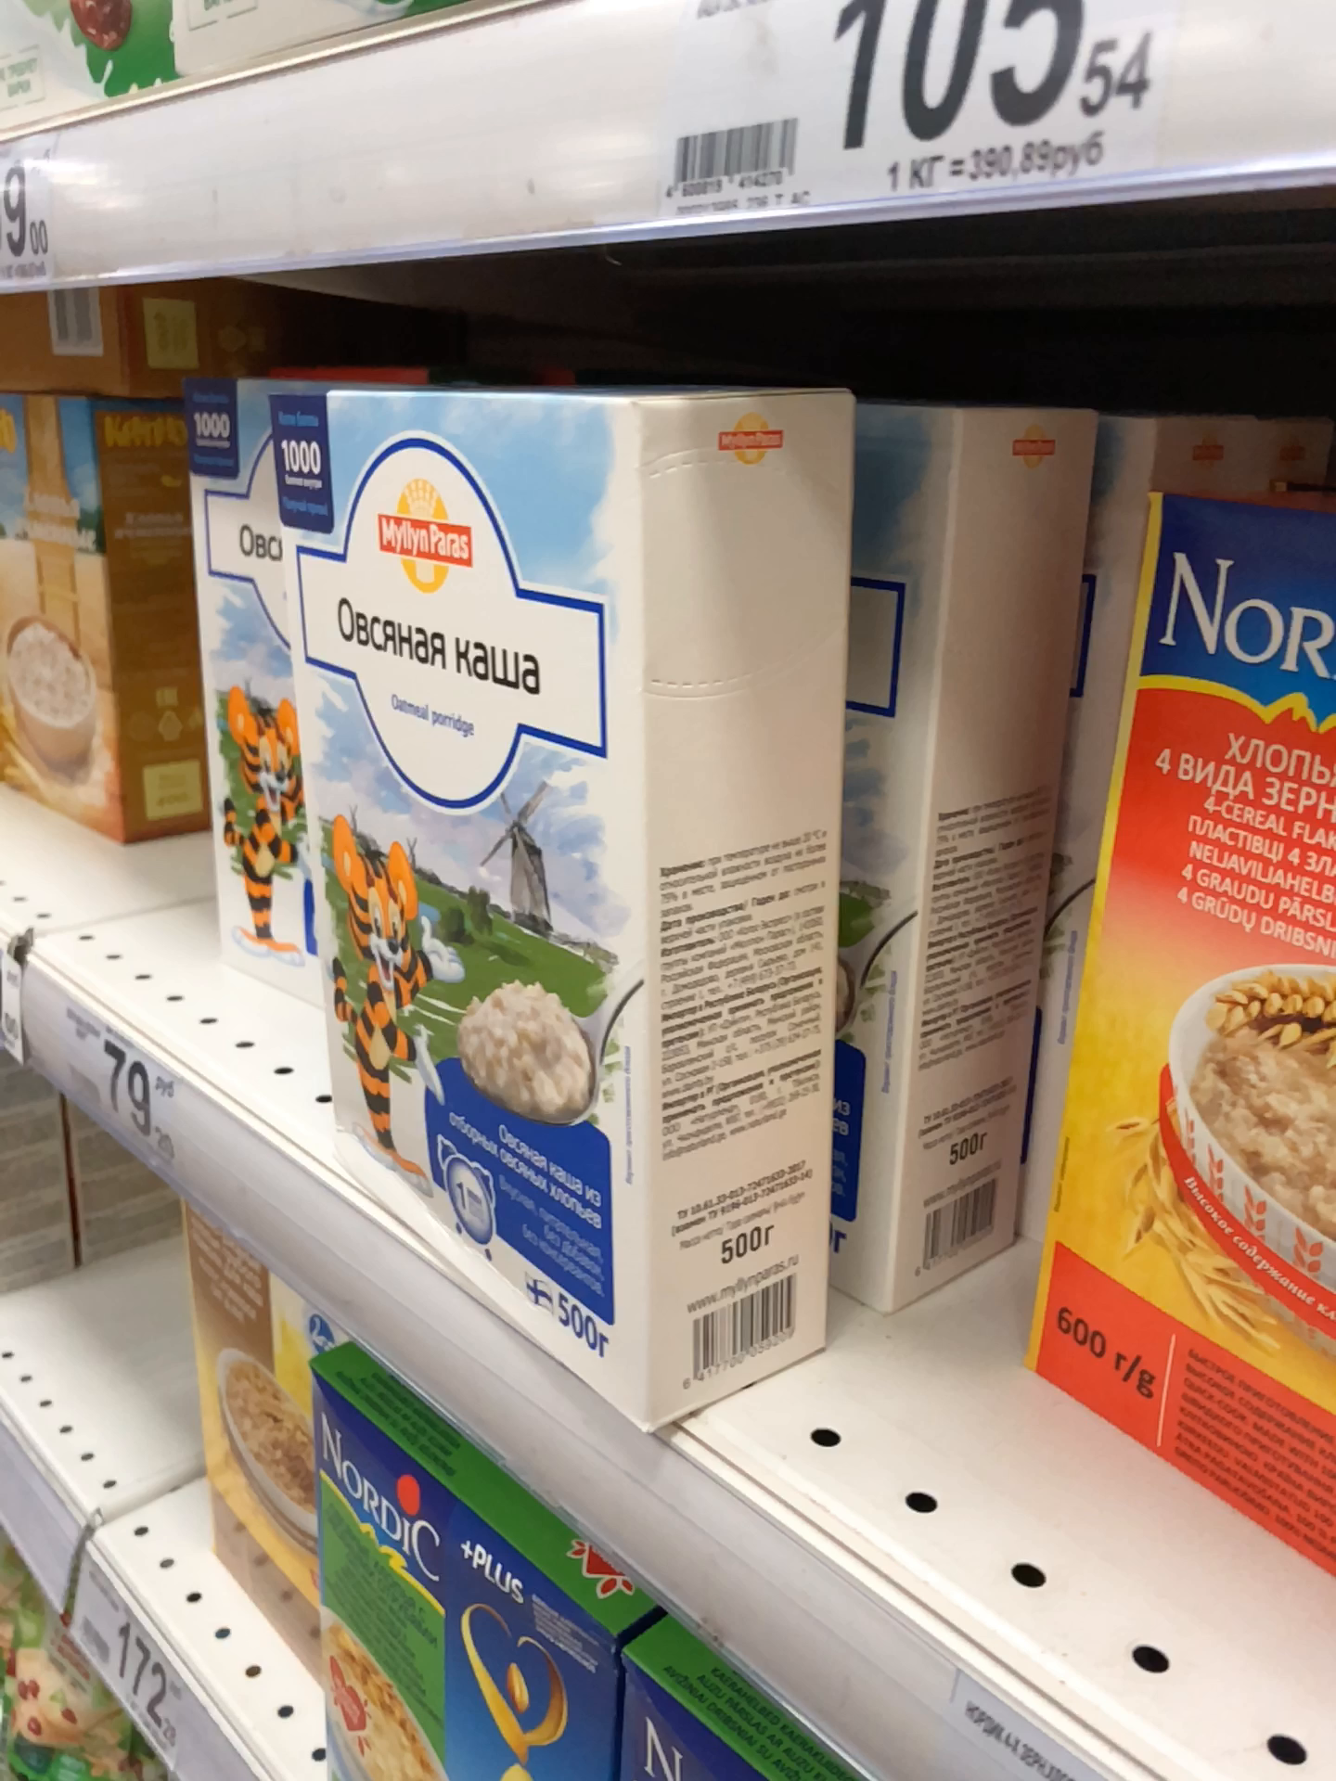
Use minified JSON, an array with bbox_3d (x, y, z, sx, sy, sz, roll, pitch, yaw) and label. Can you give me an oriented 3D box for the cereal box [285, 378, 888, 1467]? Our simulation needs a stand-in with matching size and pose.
[{"bbox_3d":[-0.027,-0.006,0.341,0.050,0.209,0.150,-13,23,-34],"label":"cereal box"}]
